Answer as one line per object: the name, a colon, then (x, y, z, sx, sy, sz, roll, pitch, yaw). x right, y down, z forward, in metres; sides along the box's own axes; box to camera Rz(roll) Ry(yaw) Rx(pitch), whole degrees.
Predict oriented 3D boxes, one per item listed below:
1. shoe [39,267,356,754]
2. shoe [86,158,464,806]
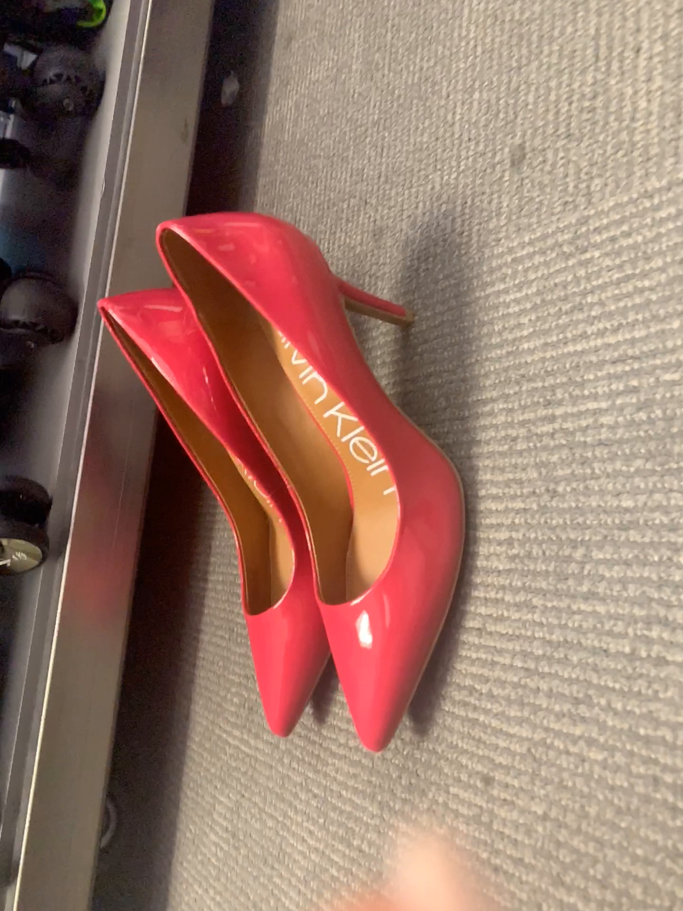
shoe: (-0.067, 0.031, 0.360, 0.075, 0.129, 0.208, -20, 65, 53)
shoe: (-0.024, 0.012, 0.290, 0.074, 0.120, 0.216, -20, 65, 53)
